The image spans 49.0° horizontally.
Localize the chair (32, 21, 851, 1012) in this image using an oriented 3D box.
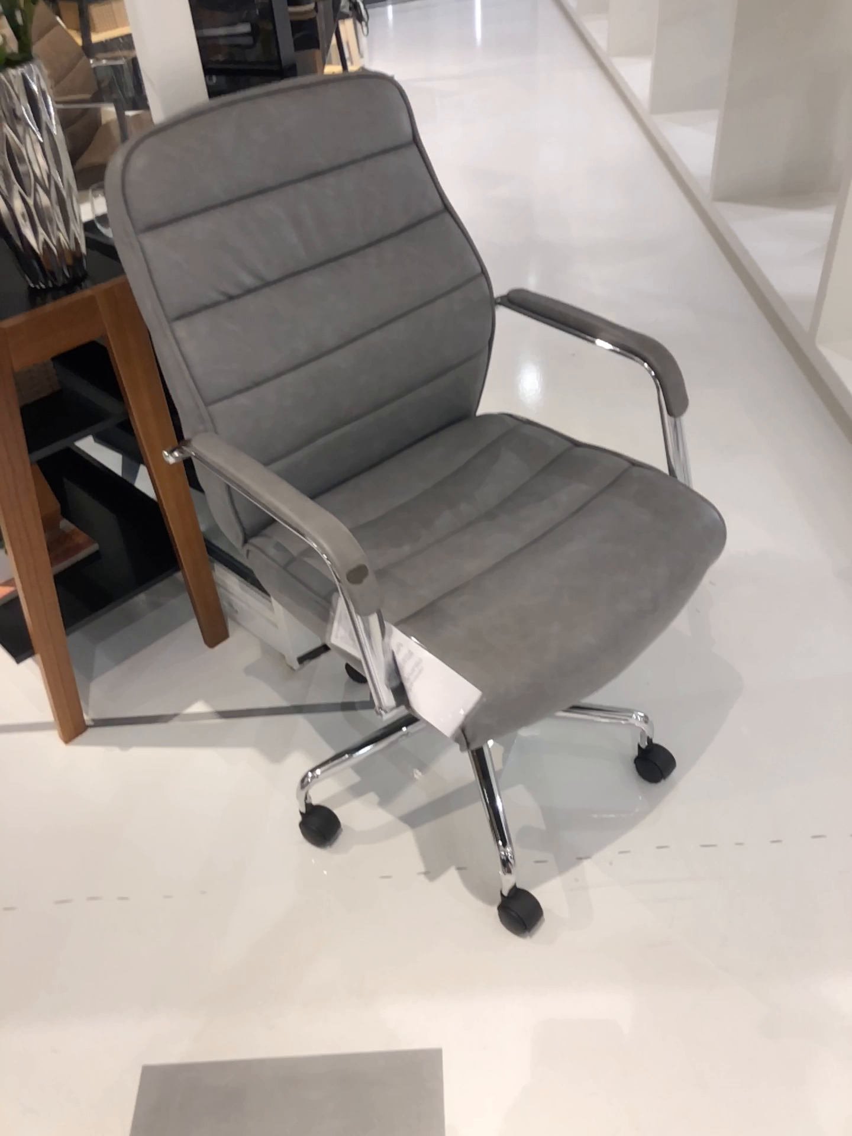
[{"bbox_3d":[0.048,-0.061,1.216,0.602,0.992,0.553,-31,46,-27],"label":"chair"}]
